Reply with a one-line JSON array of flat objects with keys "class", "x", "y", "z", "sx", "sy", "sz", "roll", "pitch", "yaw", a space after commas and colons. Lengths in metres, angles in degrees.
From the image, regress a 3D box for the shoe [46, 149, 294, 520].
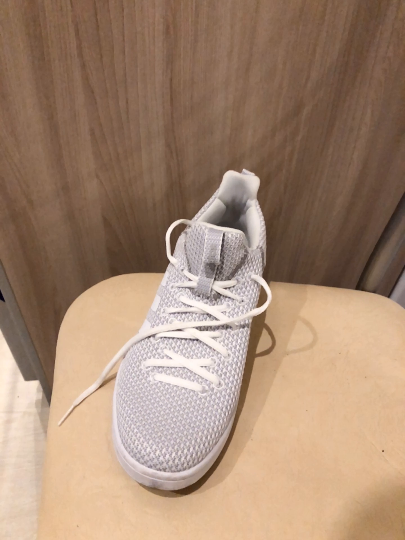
[{"class": "shoe", "x": -0.003, "y": 0.033, "z": 0.409, "sx": 0.110, "sy": 0.129, "sz": 0.302, "roll": 13, "pitch": 47, "yaw": 9}]
